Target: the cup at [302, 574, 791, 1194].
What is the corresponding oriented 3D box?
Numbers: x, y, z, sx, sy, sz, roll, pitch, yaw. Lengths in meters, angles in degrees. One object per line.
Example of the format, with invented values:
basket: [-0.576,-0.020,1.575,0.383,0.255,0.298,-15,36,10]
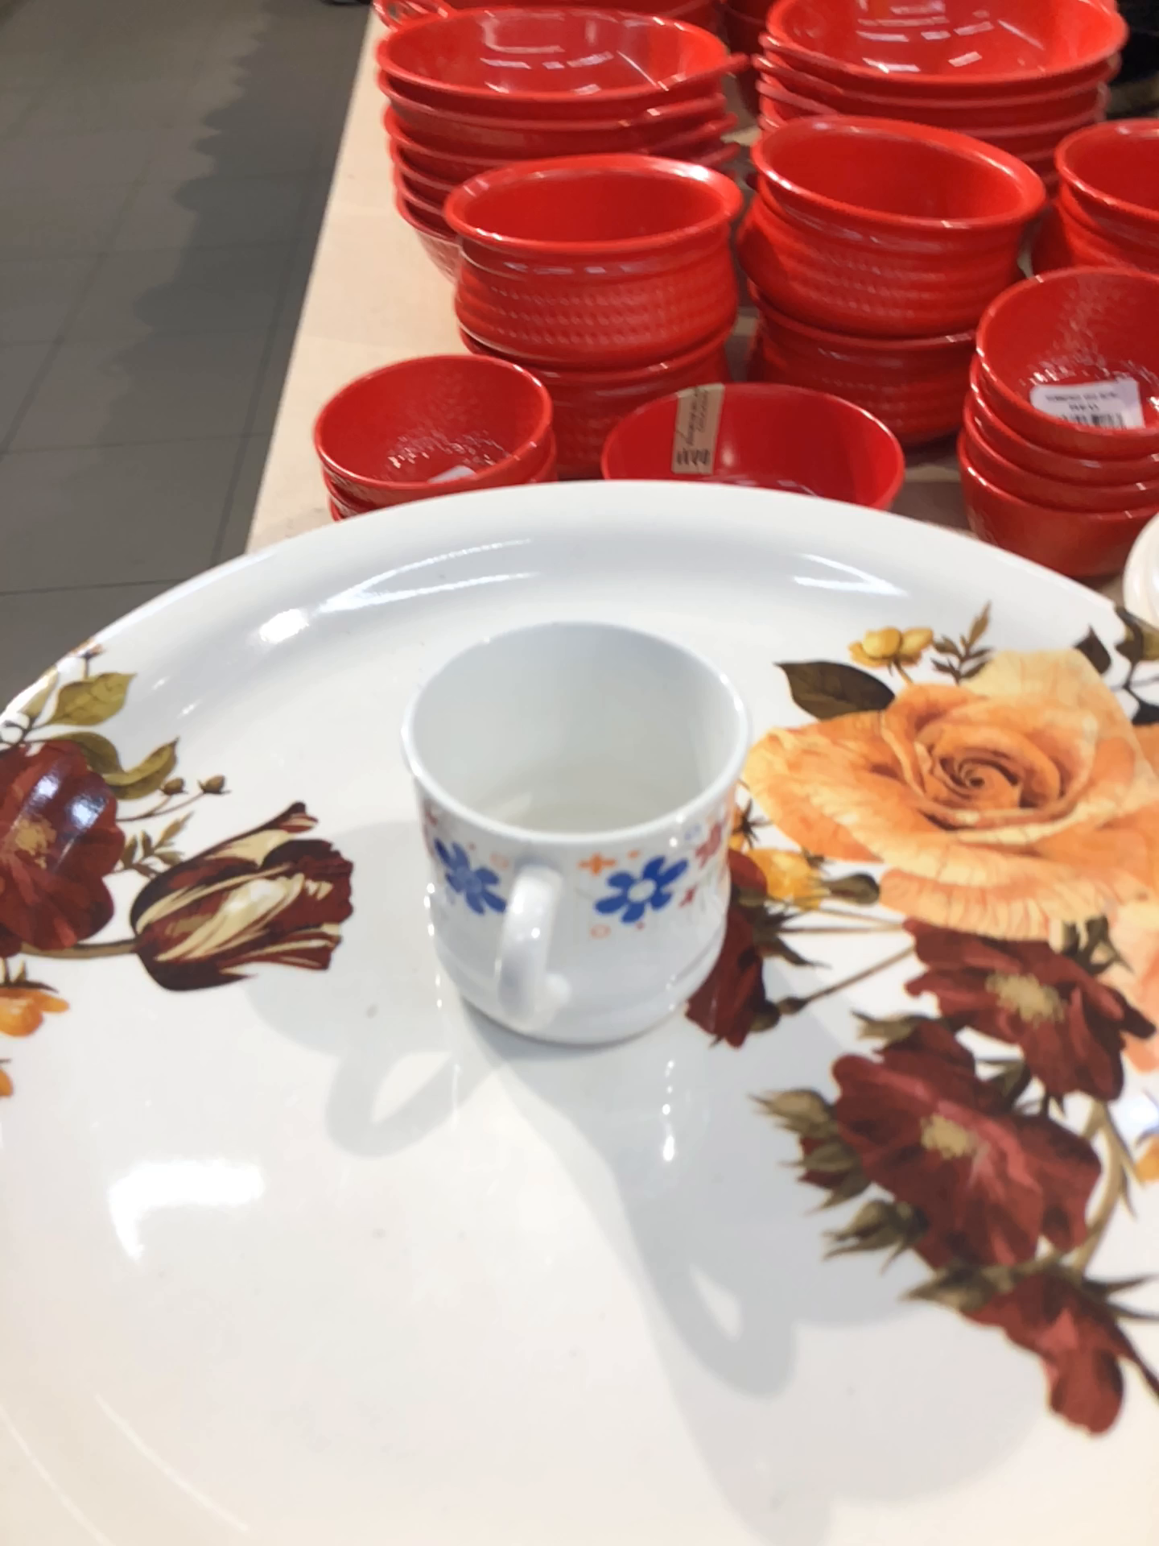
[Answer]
cup: [0.001,0.018,0.250,0.070,0.070,0.091,5,44,9]
